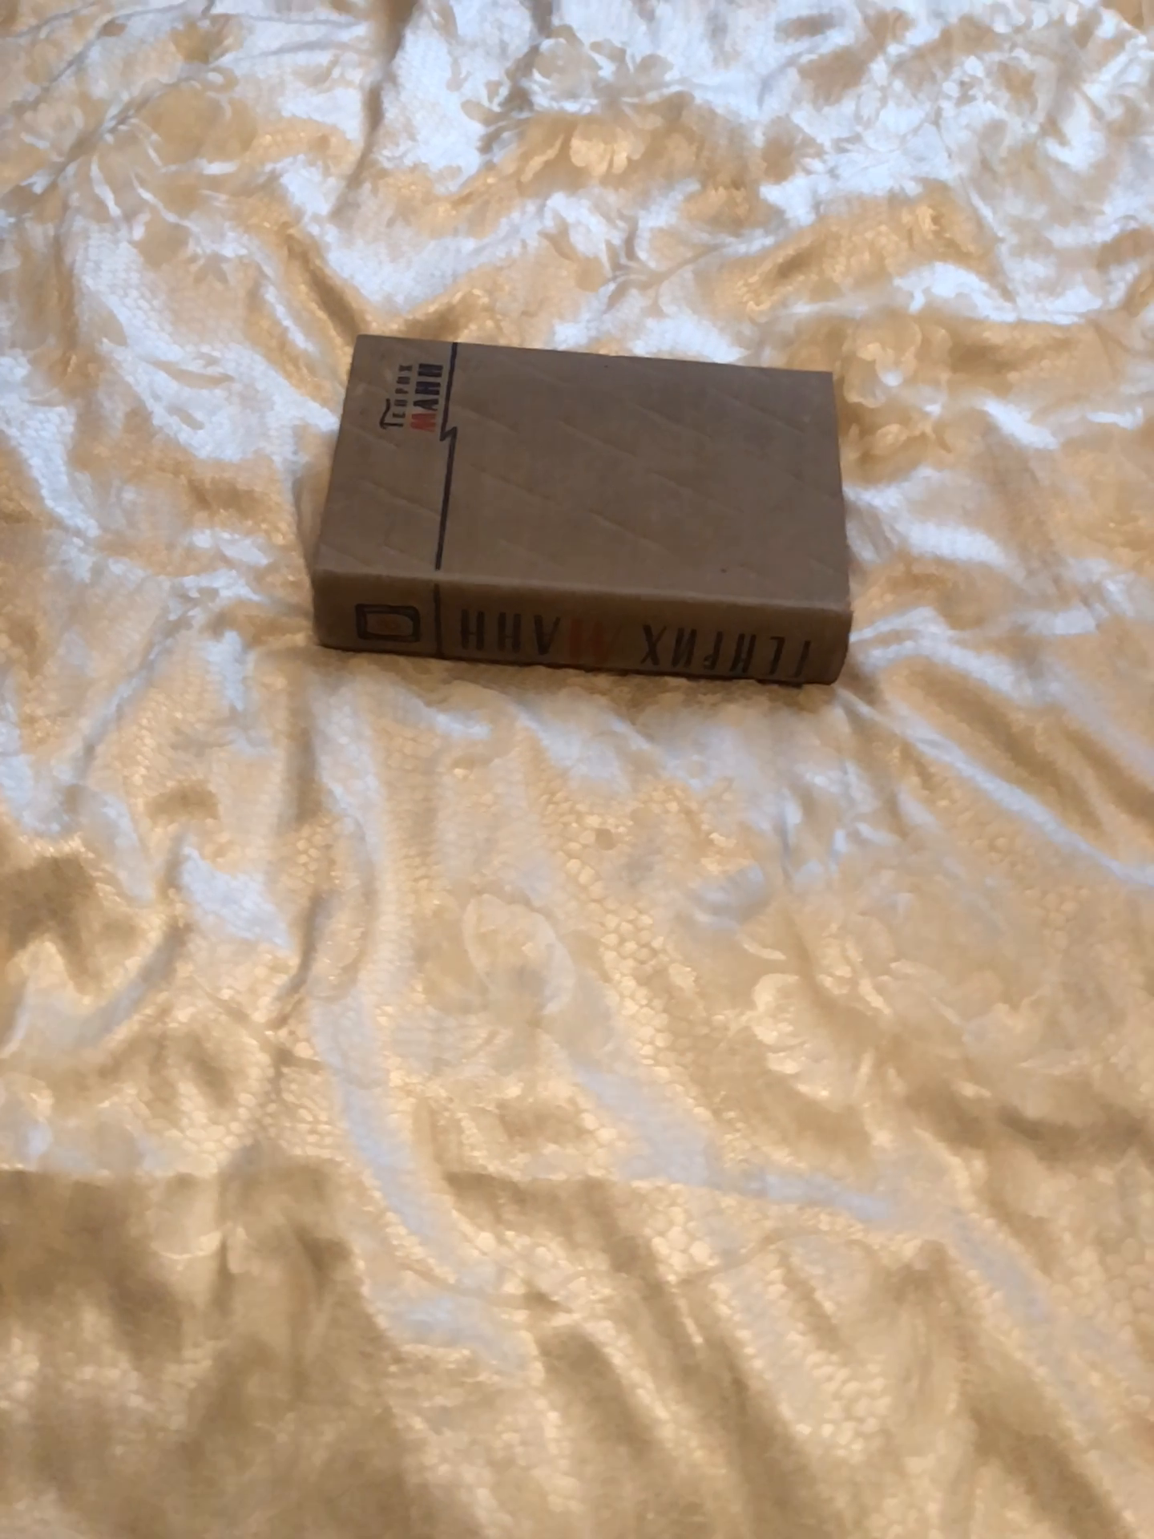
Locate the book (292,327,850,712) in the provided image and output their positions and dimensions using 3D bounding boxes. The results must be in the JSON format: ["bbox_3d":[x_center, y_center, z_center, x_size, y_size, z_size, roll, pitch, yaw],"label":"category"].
[{"bbox_3d":[0.001,-0.106,0.529,0.208,0.051,0.142,4,61,-1],"label":"book"}]
